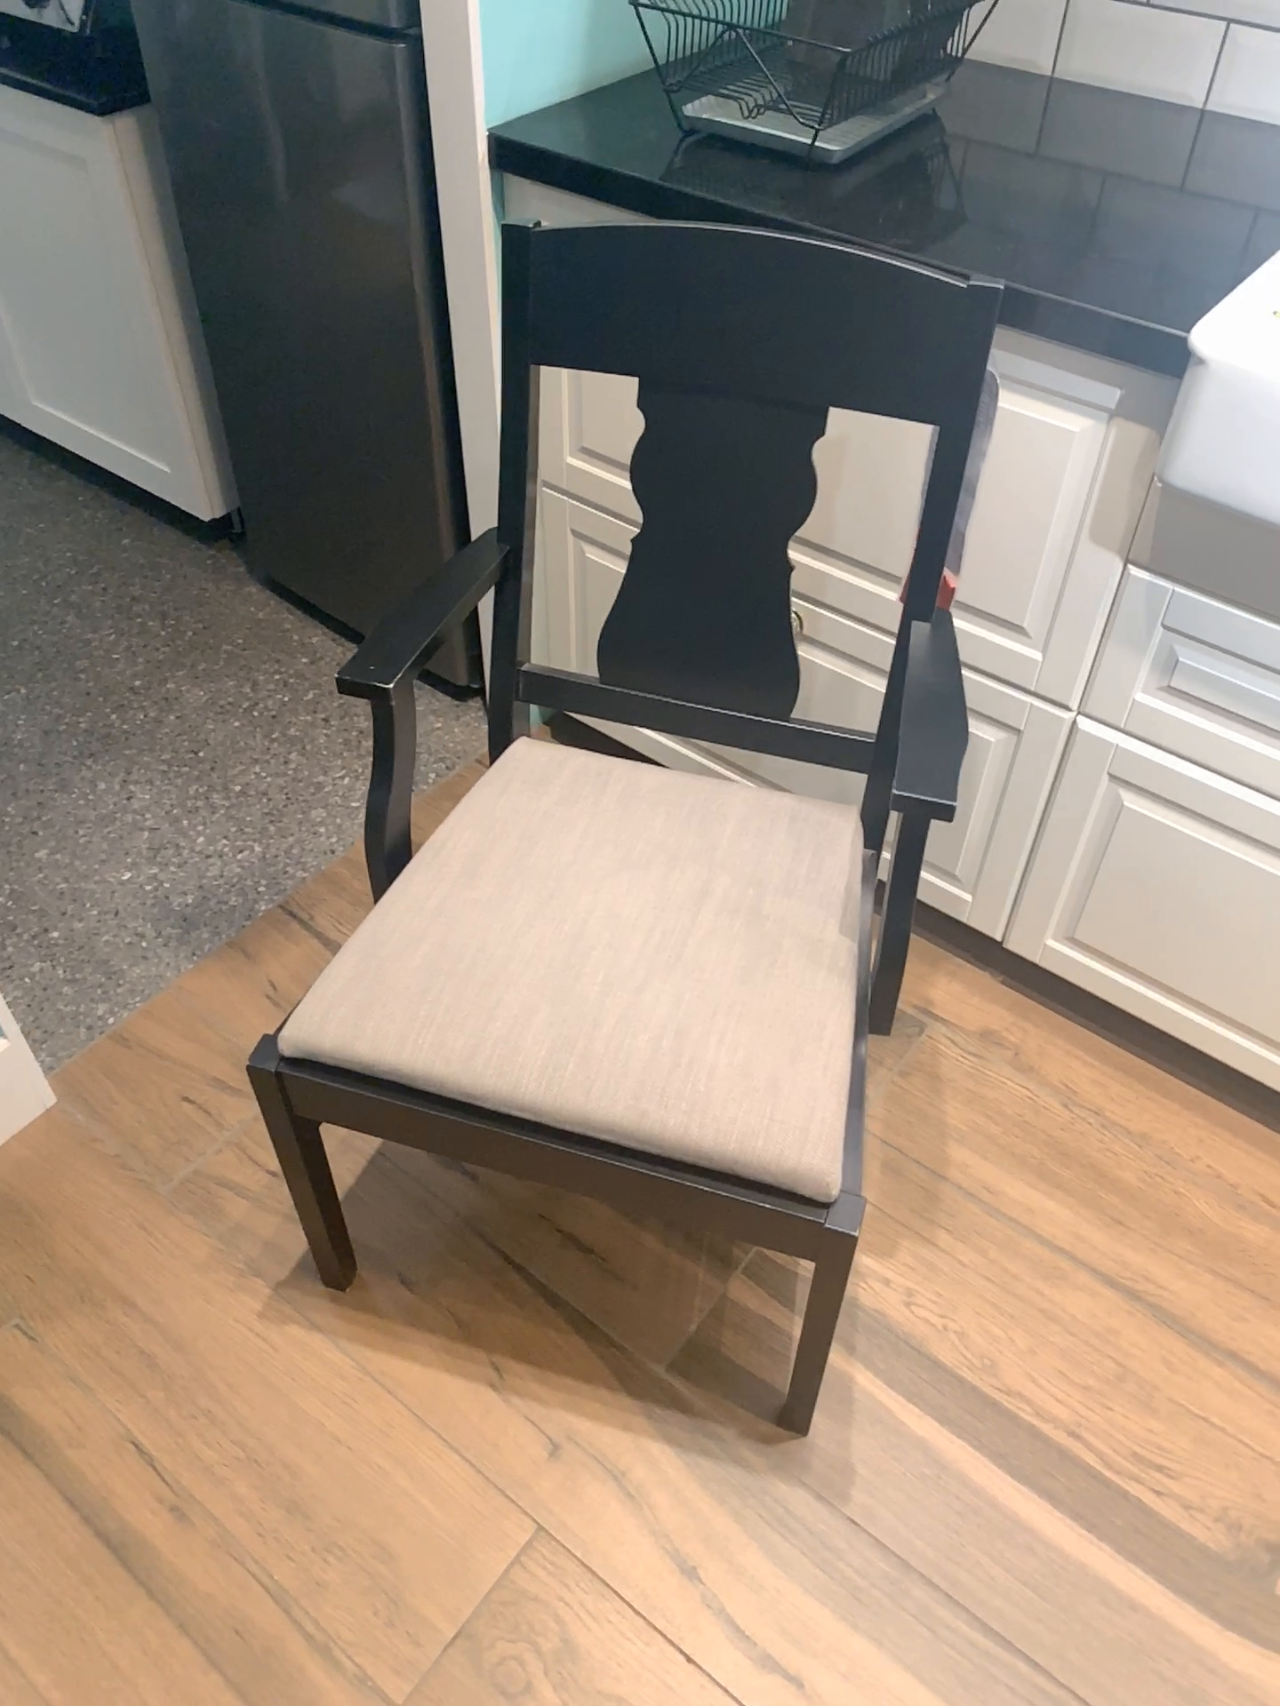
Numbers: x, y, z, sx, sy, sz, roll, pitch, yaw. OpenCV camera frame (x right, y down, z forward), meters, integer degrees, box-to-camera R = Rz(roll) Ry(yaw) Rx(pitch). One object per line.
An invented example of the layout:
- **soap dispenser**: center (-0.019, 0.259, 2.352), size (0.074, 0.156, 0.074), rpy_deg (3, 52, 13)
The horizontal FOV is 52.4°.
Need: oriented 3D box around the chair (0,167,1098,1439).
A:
- **chair**: center (-0.010, -0.016, 1.179), size (0.570, 0.886, 0.592), rpy_deg (13, 47, 12)
